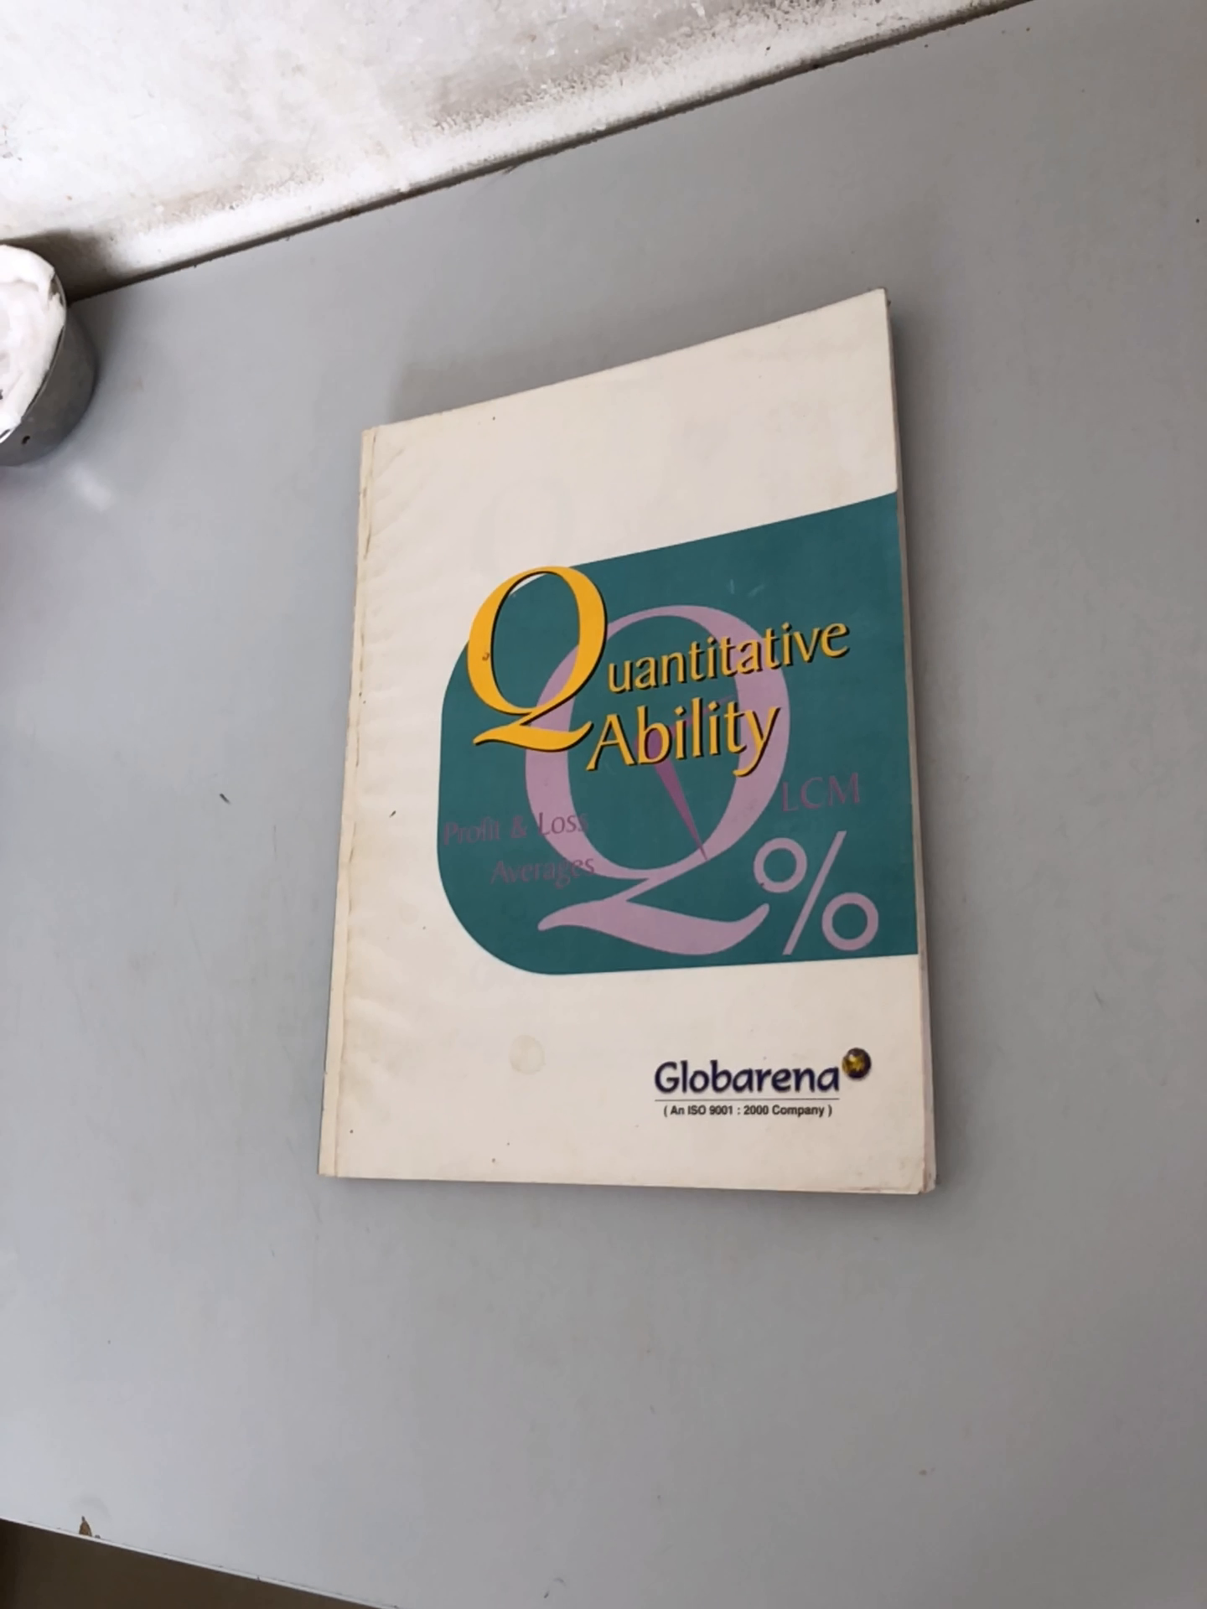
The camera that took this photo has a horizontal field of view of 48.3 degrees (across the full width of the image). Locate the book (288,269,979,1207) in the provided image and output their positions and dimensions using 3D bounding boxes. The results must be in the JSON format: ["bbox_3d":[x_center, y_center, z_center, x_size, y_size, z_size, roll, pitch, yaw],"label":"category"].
[{"bbox_3d":[0.000,-0.015,0.380,0.190,0.020,0.240,-6,75,25],"label":"book"}]
